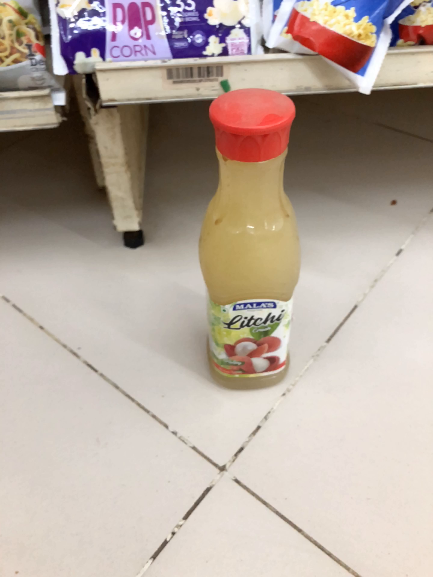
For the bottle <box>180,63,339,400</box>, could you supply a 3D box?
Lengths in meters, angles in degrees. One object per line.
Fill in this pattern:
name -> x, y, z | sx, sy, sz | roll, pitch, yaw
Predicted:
bottle -> 0.029, -0.023, 0.411 | 0.090, 0.288, 0.091 | -2, 47, 2
